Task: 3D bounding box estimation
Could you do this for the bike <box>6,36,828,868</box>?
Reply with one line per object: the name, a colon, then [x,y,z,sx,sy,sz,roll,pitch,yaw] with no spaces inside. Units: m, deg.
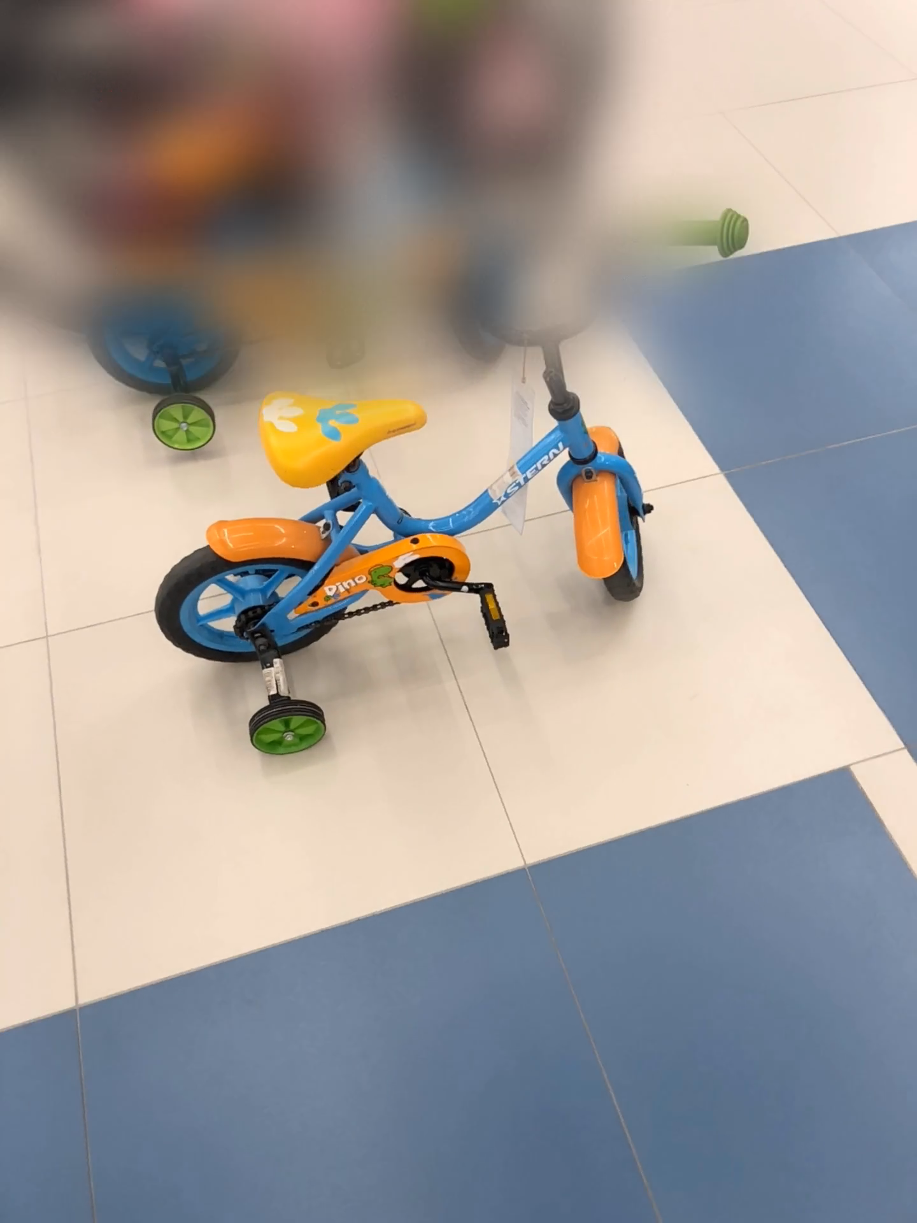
bike: [-0.063,-0.218,1.333,0.751,0.682,0.566,-22,55,-17]
